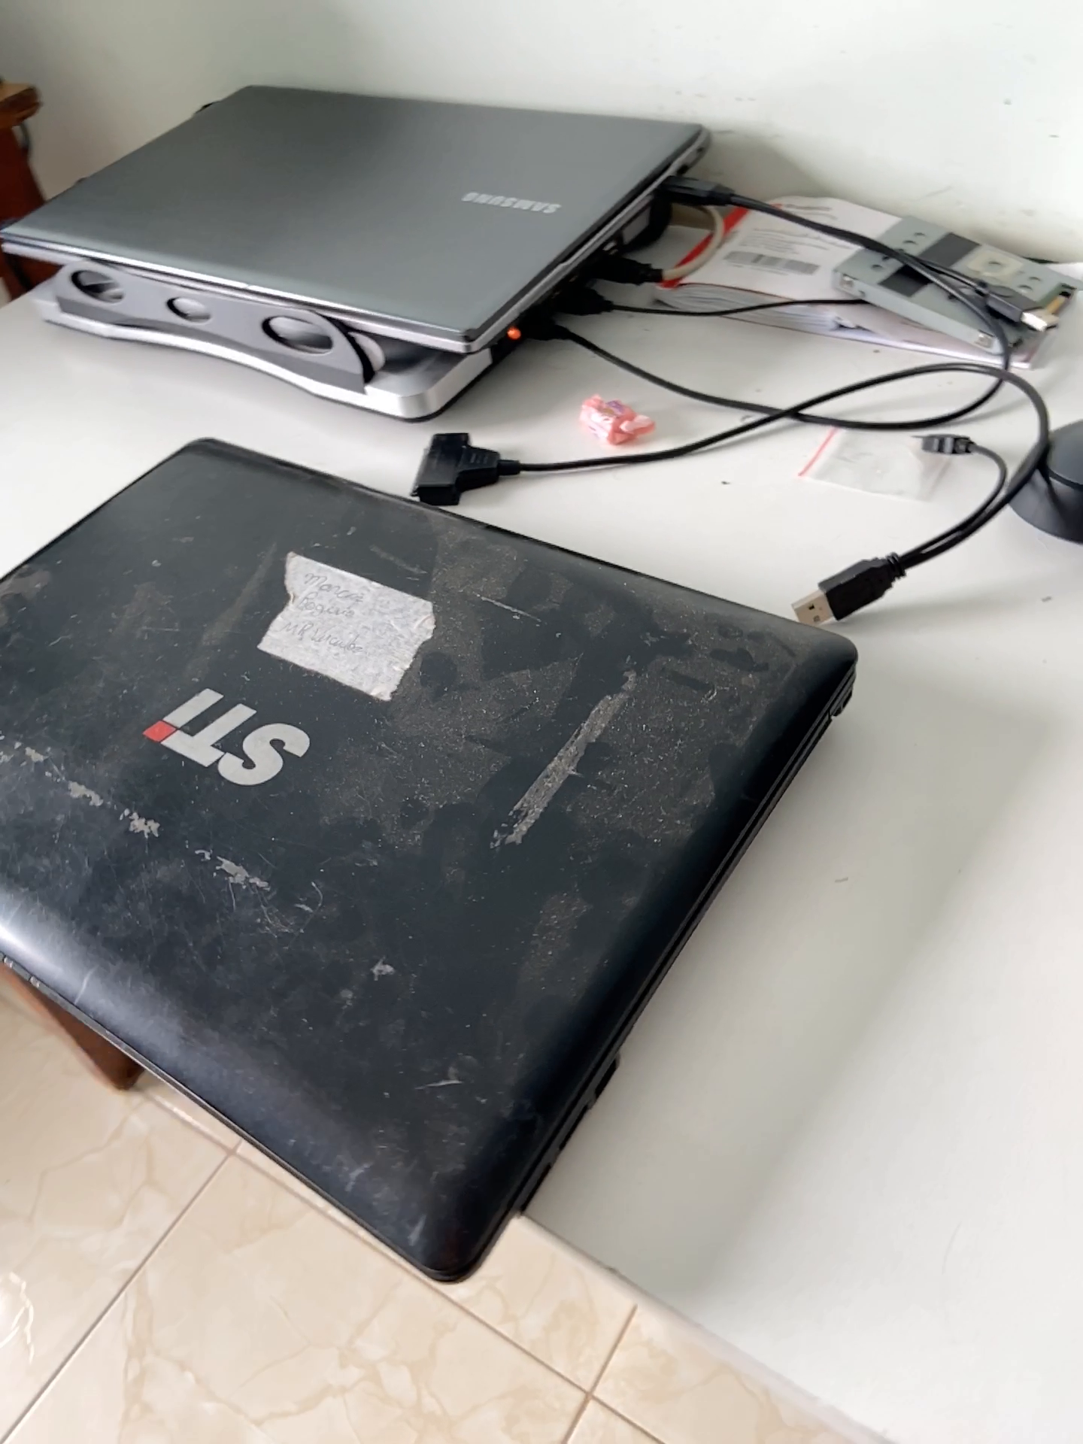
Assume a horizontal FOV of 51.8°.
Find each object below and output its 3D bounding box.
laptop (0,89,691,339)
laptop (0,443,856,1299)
[{"bbox_3d":[-0.118,-0.312,0.652,0.344,0.006,0.228,20,54,25],"label":"laptop"},{"bbox_3d":[-0.095,0.003,0.405,0.337,0.011,0.230,22,57,29],"label":"laptop"}]
